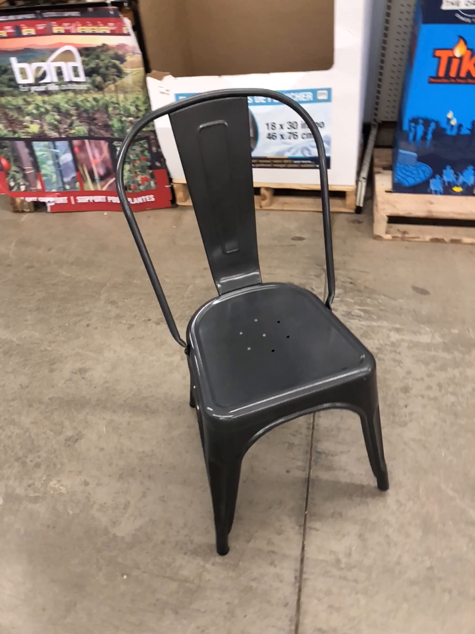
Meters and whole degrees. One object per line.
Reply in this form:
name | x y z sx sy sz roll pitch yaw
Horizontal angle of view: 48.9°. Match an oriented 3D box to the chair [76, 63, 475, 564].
chair | 0.050 0.017 1.093 0.480 0.817 0.502 -17 44 -13
